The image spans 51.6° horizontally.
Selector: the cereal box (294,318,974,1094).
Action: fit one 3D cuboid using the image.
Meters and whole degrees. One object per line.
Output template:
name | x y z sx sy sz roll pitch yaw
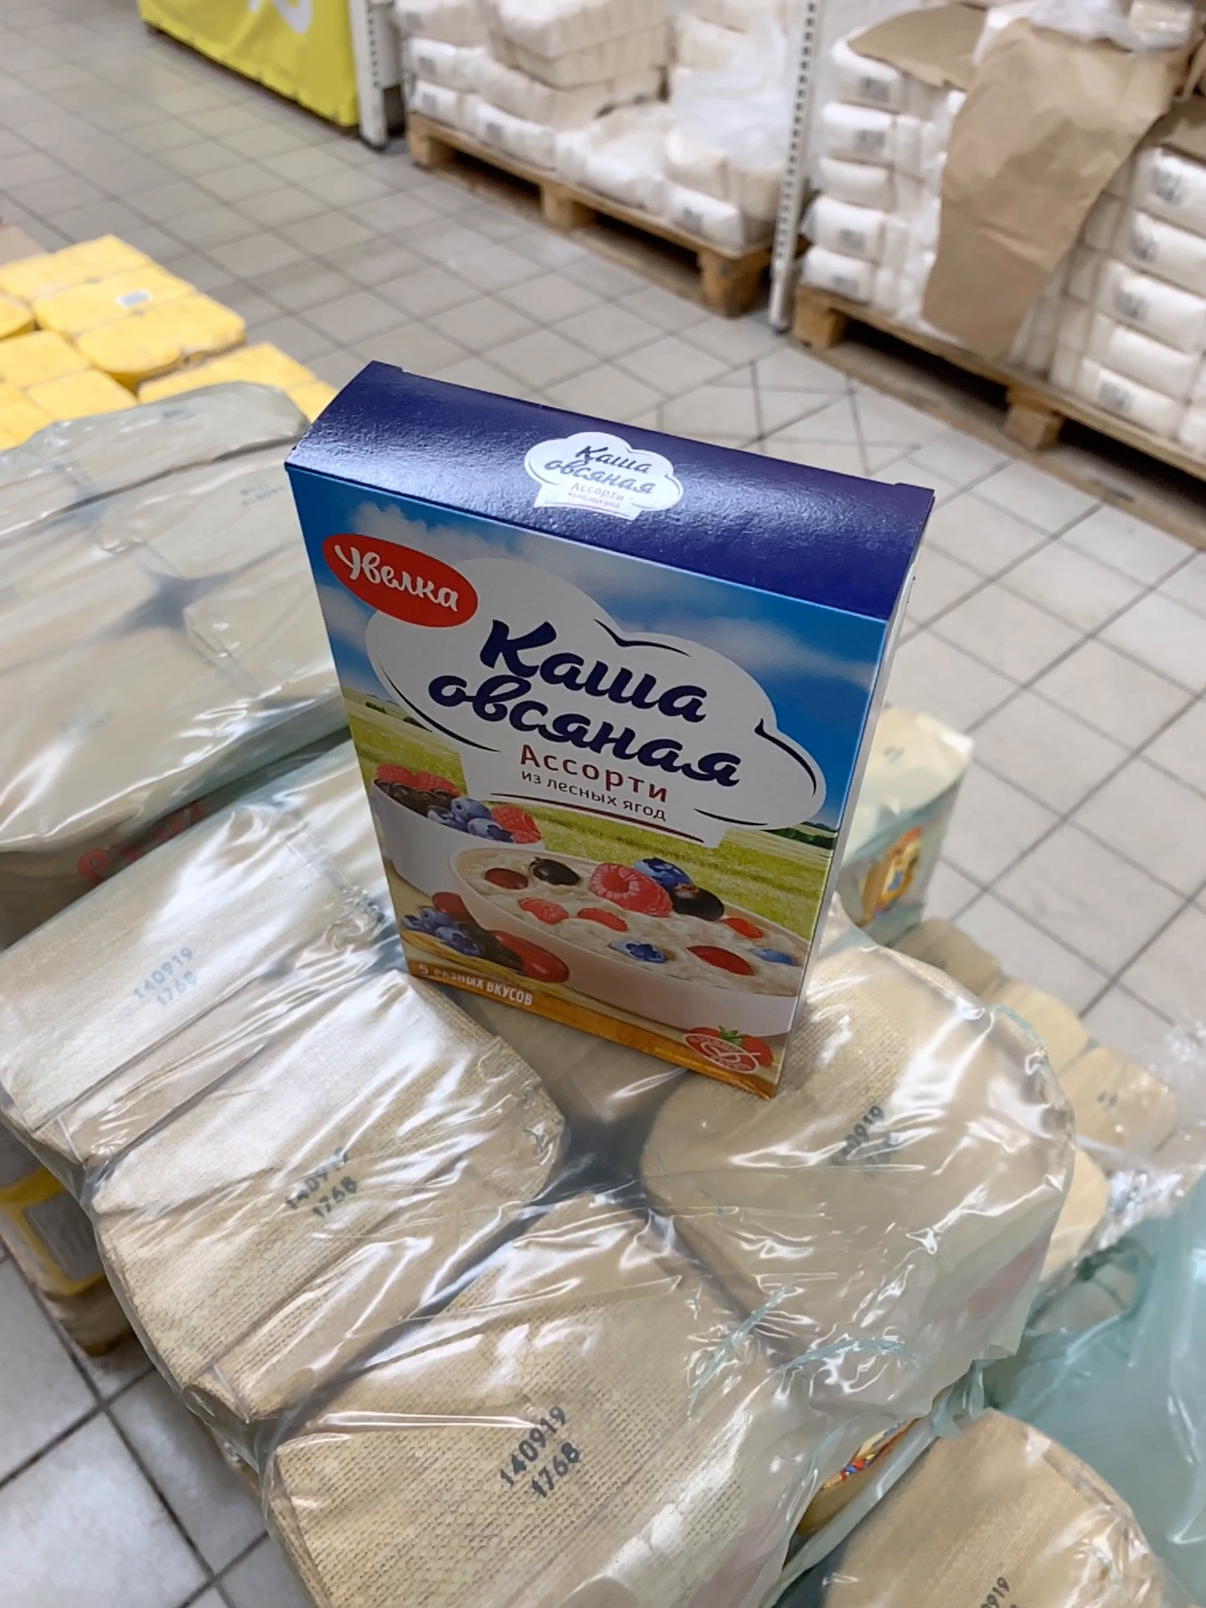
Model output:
cereal box | 0.005 -0.011 0.331 0.130 0.198 0.050 16 52 12
